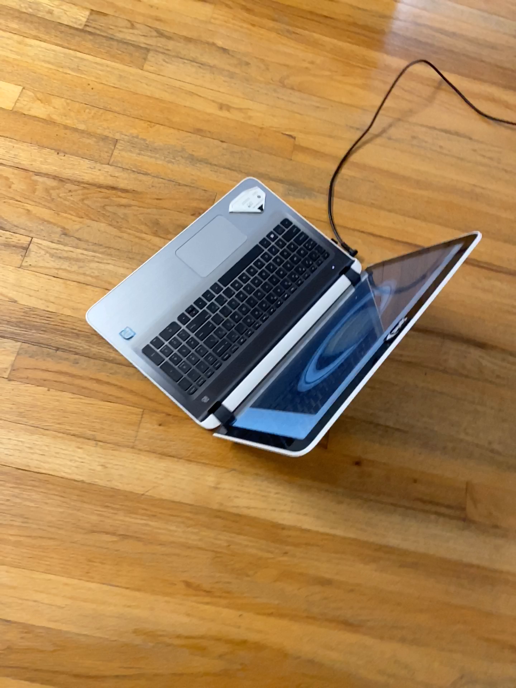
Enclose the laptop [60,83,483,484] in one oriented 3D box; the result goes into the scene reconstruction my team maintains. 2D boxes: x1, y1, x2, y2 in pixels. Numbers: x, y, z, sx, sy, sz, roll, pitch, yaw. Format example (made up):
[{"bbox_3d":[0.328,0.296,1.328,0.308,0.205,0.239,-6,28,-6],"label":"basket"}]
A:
[{"bbox_3d":[0.017,-0.087,0.722,0.363,0.202,0.372,40,67,9],"label":"laptop"}]
